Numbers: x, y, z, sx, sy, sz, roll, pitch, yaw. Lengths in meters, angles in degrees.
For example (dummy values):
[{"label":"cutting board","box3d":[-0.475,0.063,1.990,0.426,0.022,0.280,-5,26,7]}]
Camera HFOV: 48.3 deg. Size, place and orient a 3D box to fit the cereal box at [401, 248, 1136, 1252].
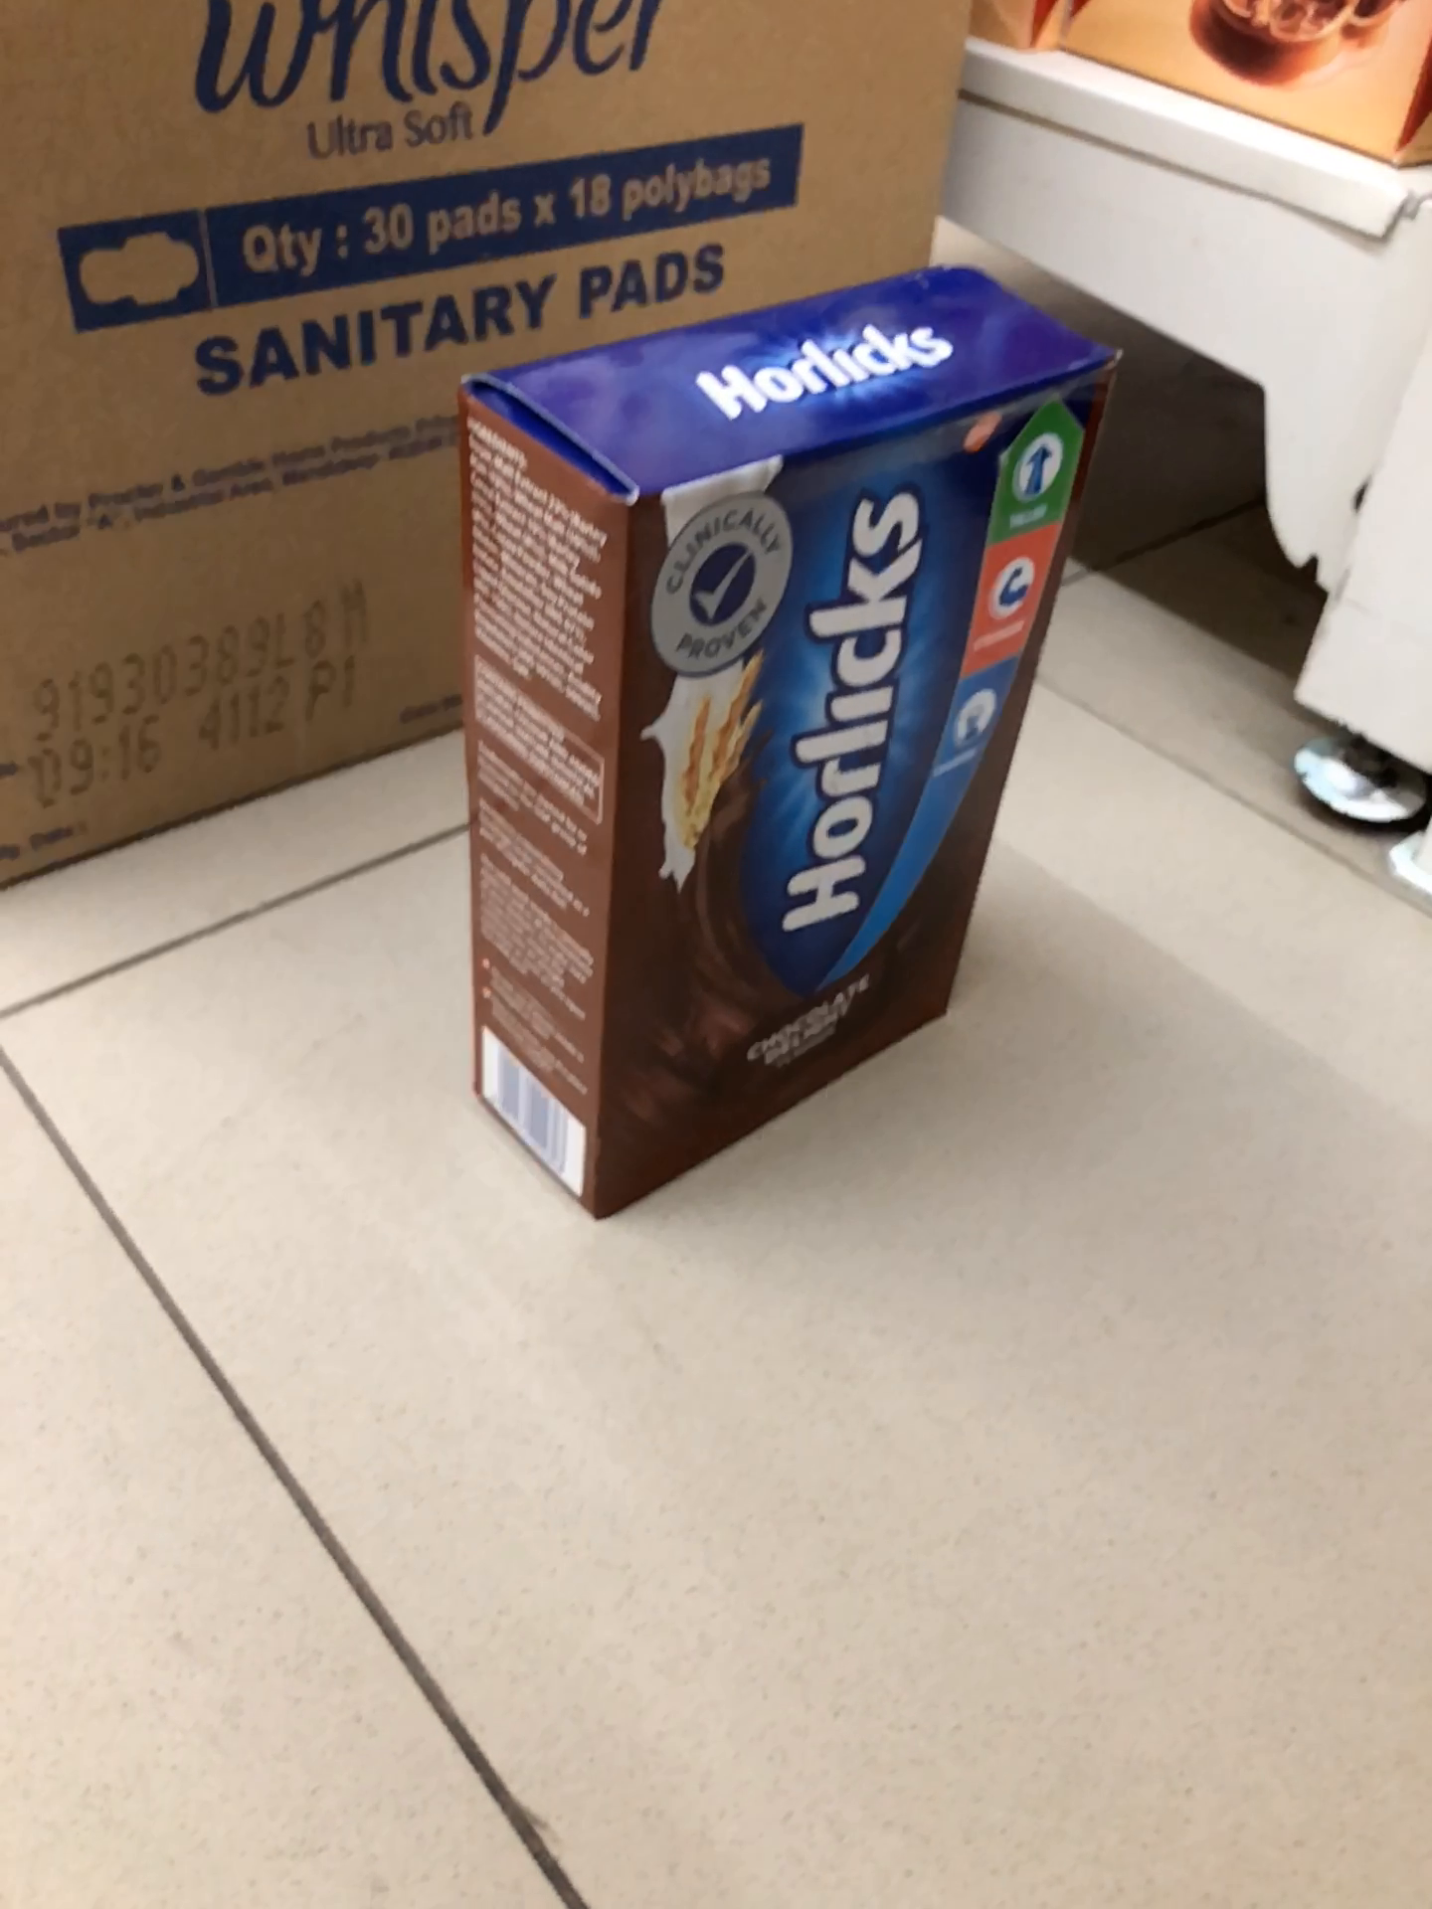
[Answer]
[{"label":"cereal box","box3d":[0.009,-0.045,0.380,0.141,0.199,0.060,-26,50,-31]}]
